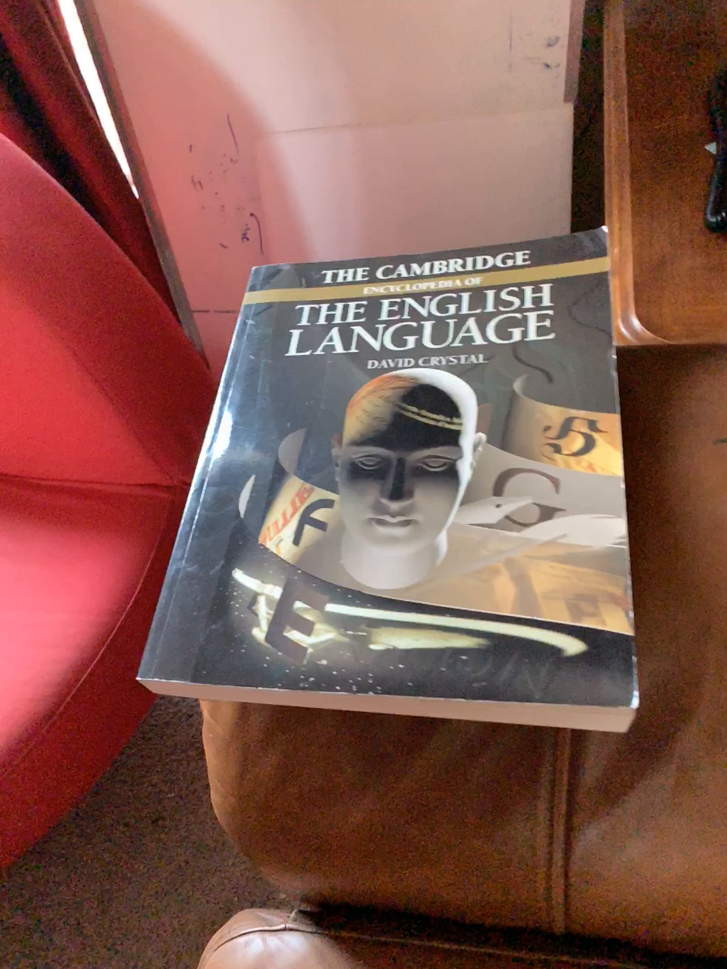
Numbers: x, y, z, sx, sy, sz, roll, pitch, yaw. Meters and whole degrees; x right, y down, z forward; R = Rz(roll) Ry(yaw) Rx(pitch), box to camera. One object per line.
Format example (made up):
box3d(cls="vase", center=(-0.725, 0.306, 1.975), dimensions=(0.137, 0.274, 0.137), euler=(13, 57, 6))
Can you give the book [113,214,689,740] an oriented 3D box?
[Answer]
box3d(cls="book", center=(0.027, -0.023, 0.400), dimensions=(0.240, 0.050, 0.281), euler=(0, 57, 14))
